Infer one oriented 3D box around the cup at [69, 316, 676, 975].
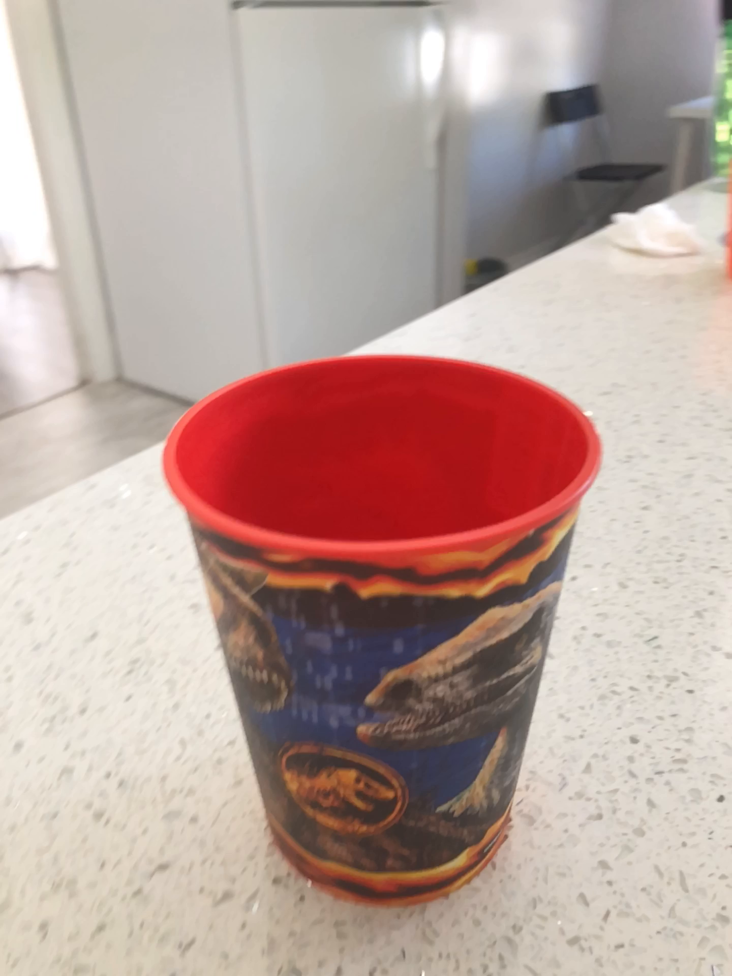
[{"bbox_3d":[0.001,0.031,0.198,0.090,0.110,0.090,-2,29,1],"label":"cup"}]
